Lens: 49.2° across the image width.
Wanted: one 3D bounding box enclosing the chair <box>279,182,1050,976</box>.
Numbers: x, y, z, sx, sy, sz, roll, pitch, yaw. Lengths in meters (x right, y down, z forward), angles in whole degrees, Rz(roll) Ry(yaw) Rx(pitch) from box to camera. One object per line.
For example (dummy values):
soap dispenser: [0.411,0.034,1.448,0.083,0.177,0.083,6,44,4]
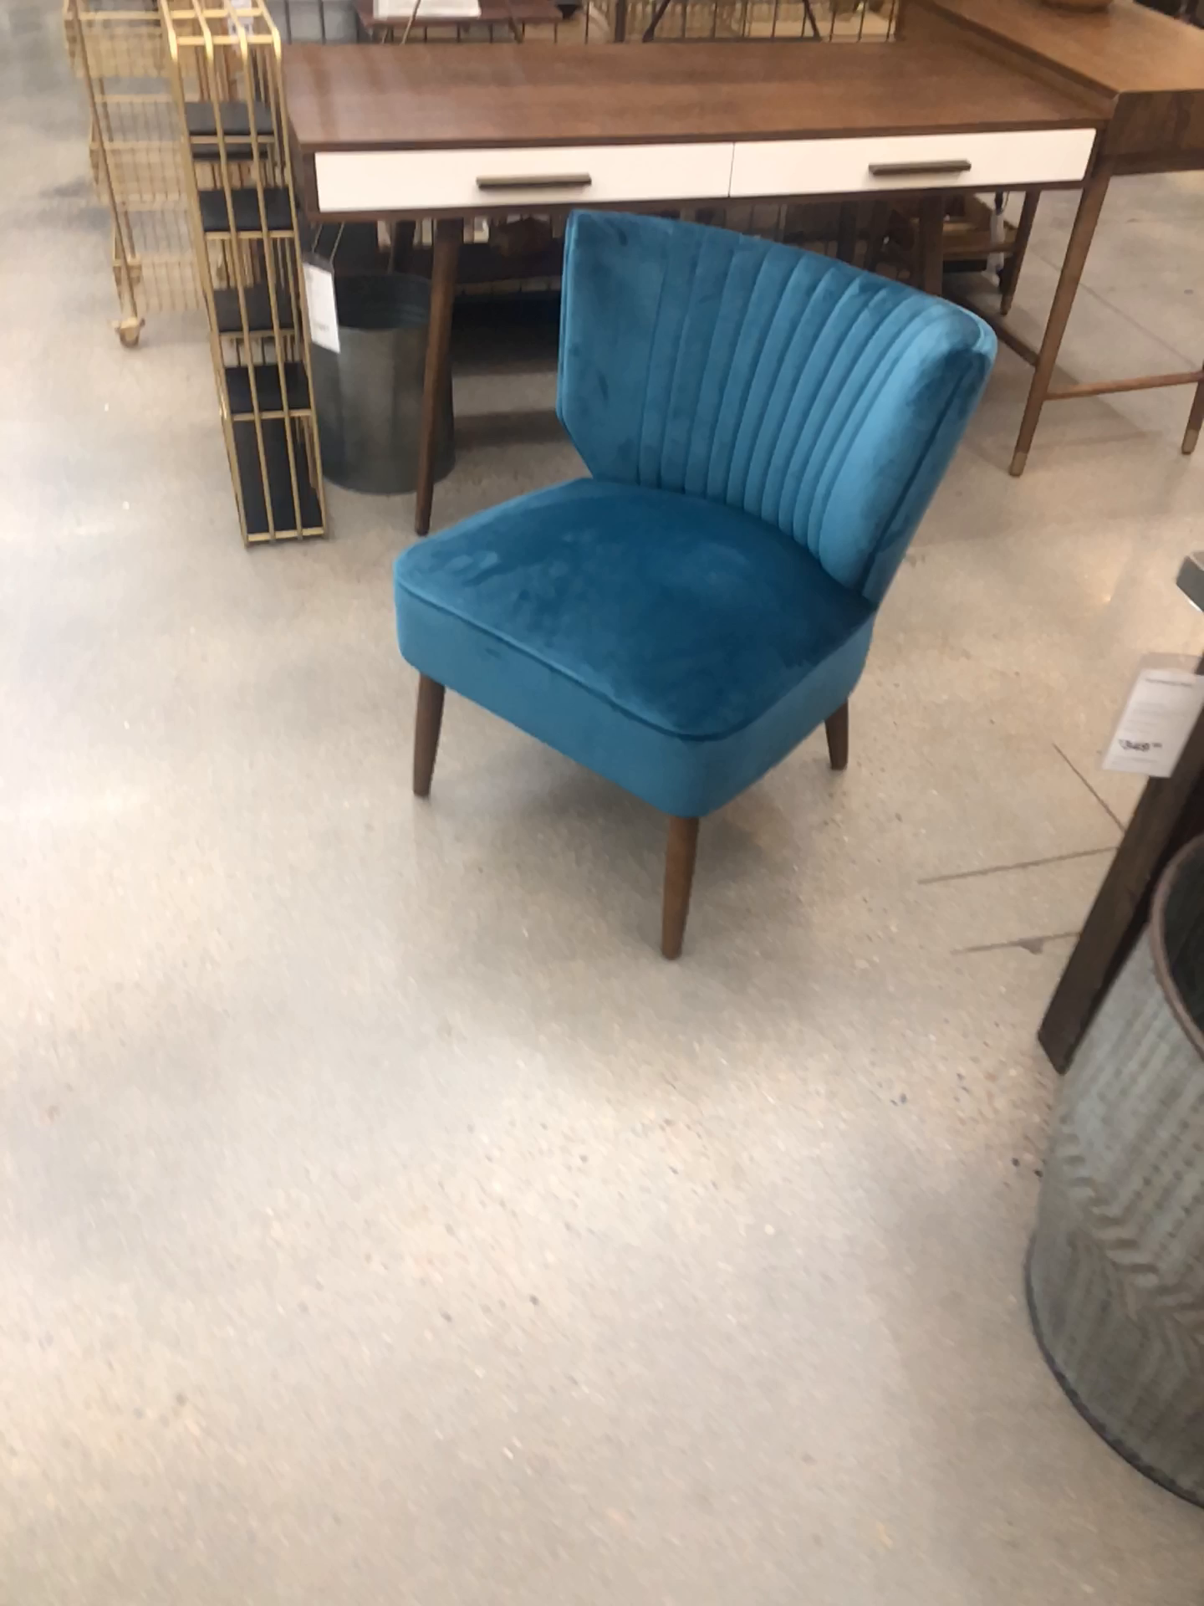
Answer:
chair: [0.076,-0.344,1.800,0.661,0.677,0.662,30,48,27]
